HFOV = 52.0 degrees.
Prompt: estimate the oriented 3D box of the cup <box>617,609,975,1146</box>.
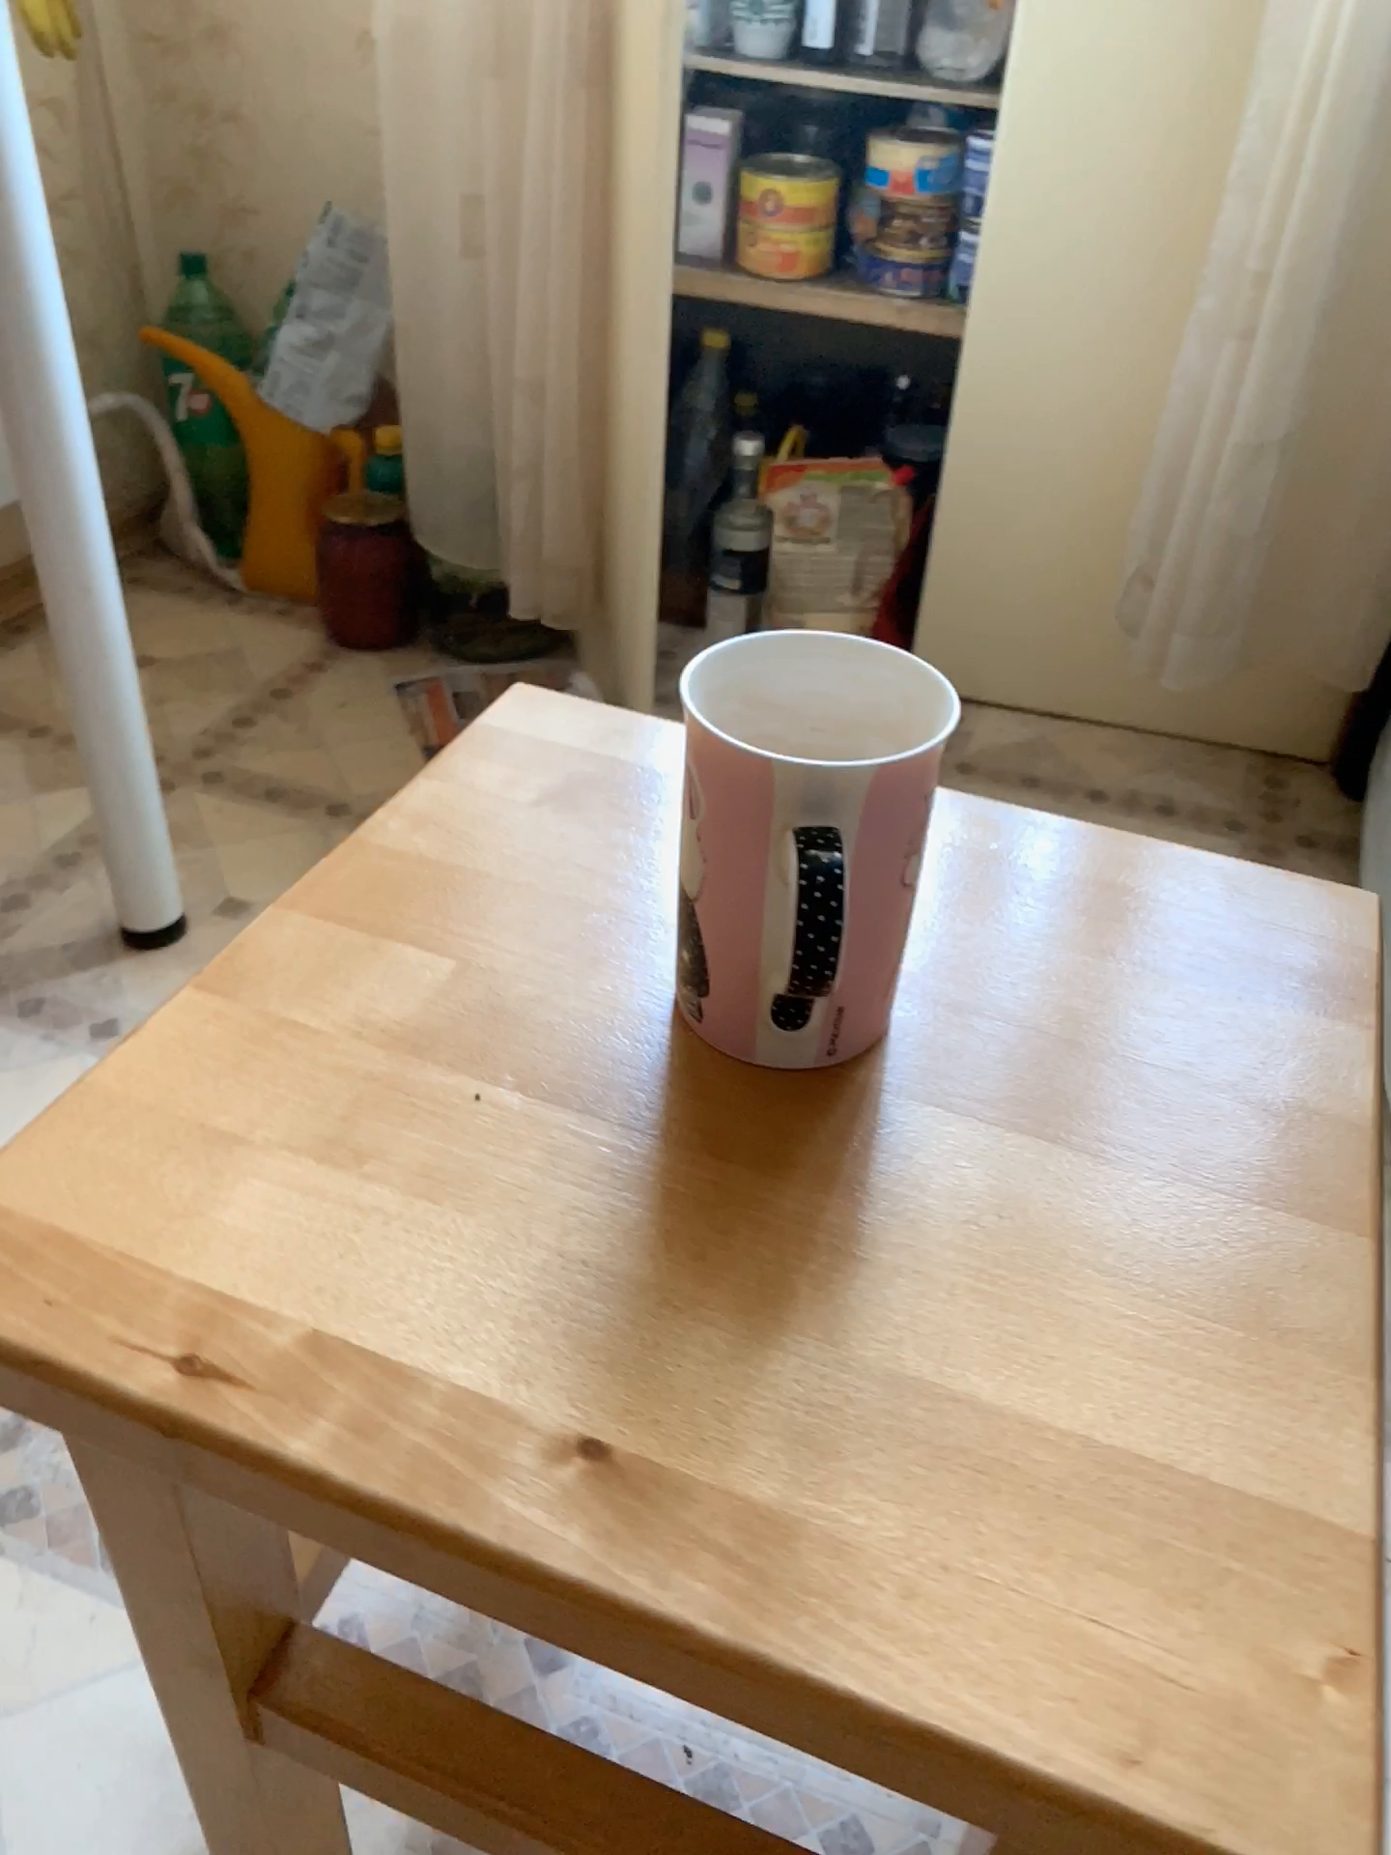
[{"bbox_3d":[0.026,-0.017,0.403,0.080,0.099,0.111,5,36,1],"label":"cup"}]
